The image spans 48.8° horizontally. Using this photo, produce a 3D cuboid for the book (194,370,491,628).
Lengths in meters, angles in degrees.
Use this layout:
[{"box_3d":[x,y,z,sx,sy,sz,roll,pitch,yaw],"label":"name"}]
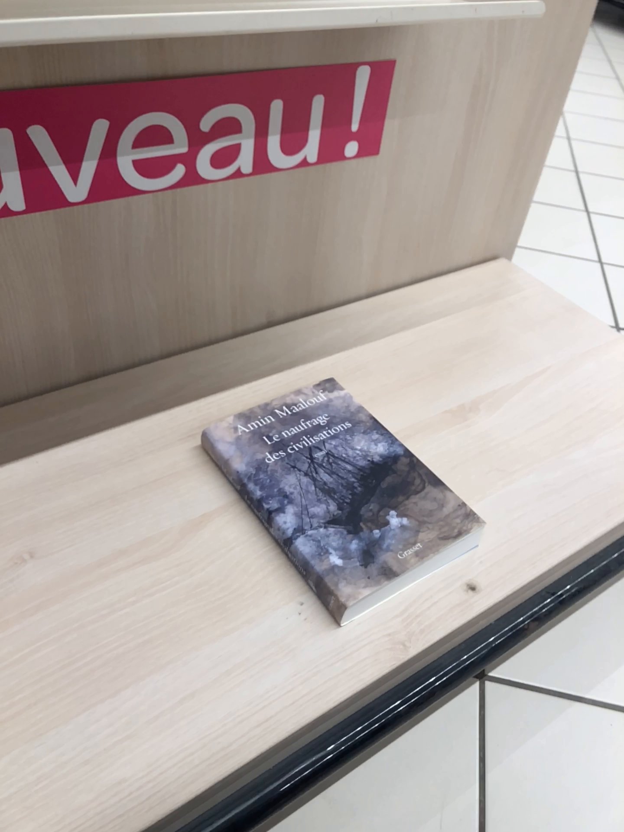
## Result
[{"box_3d":[0.019,0.053,0.572,0.148,0.026,0.211,-22,50,-30],"label":"book"}]
